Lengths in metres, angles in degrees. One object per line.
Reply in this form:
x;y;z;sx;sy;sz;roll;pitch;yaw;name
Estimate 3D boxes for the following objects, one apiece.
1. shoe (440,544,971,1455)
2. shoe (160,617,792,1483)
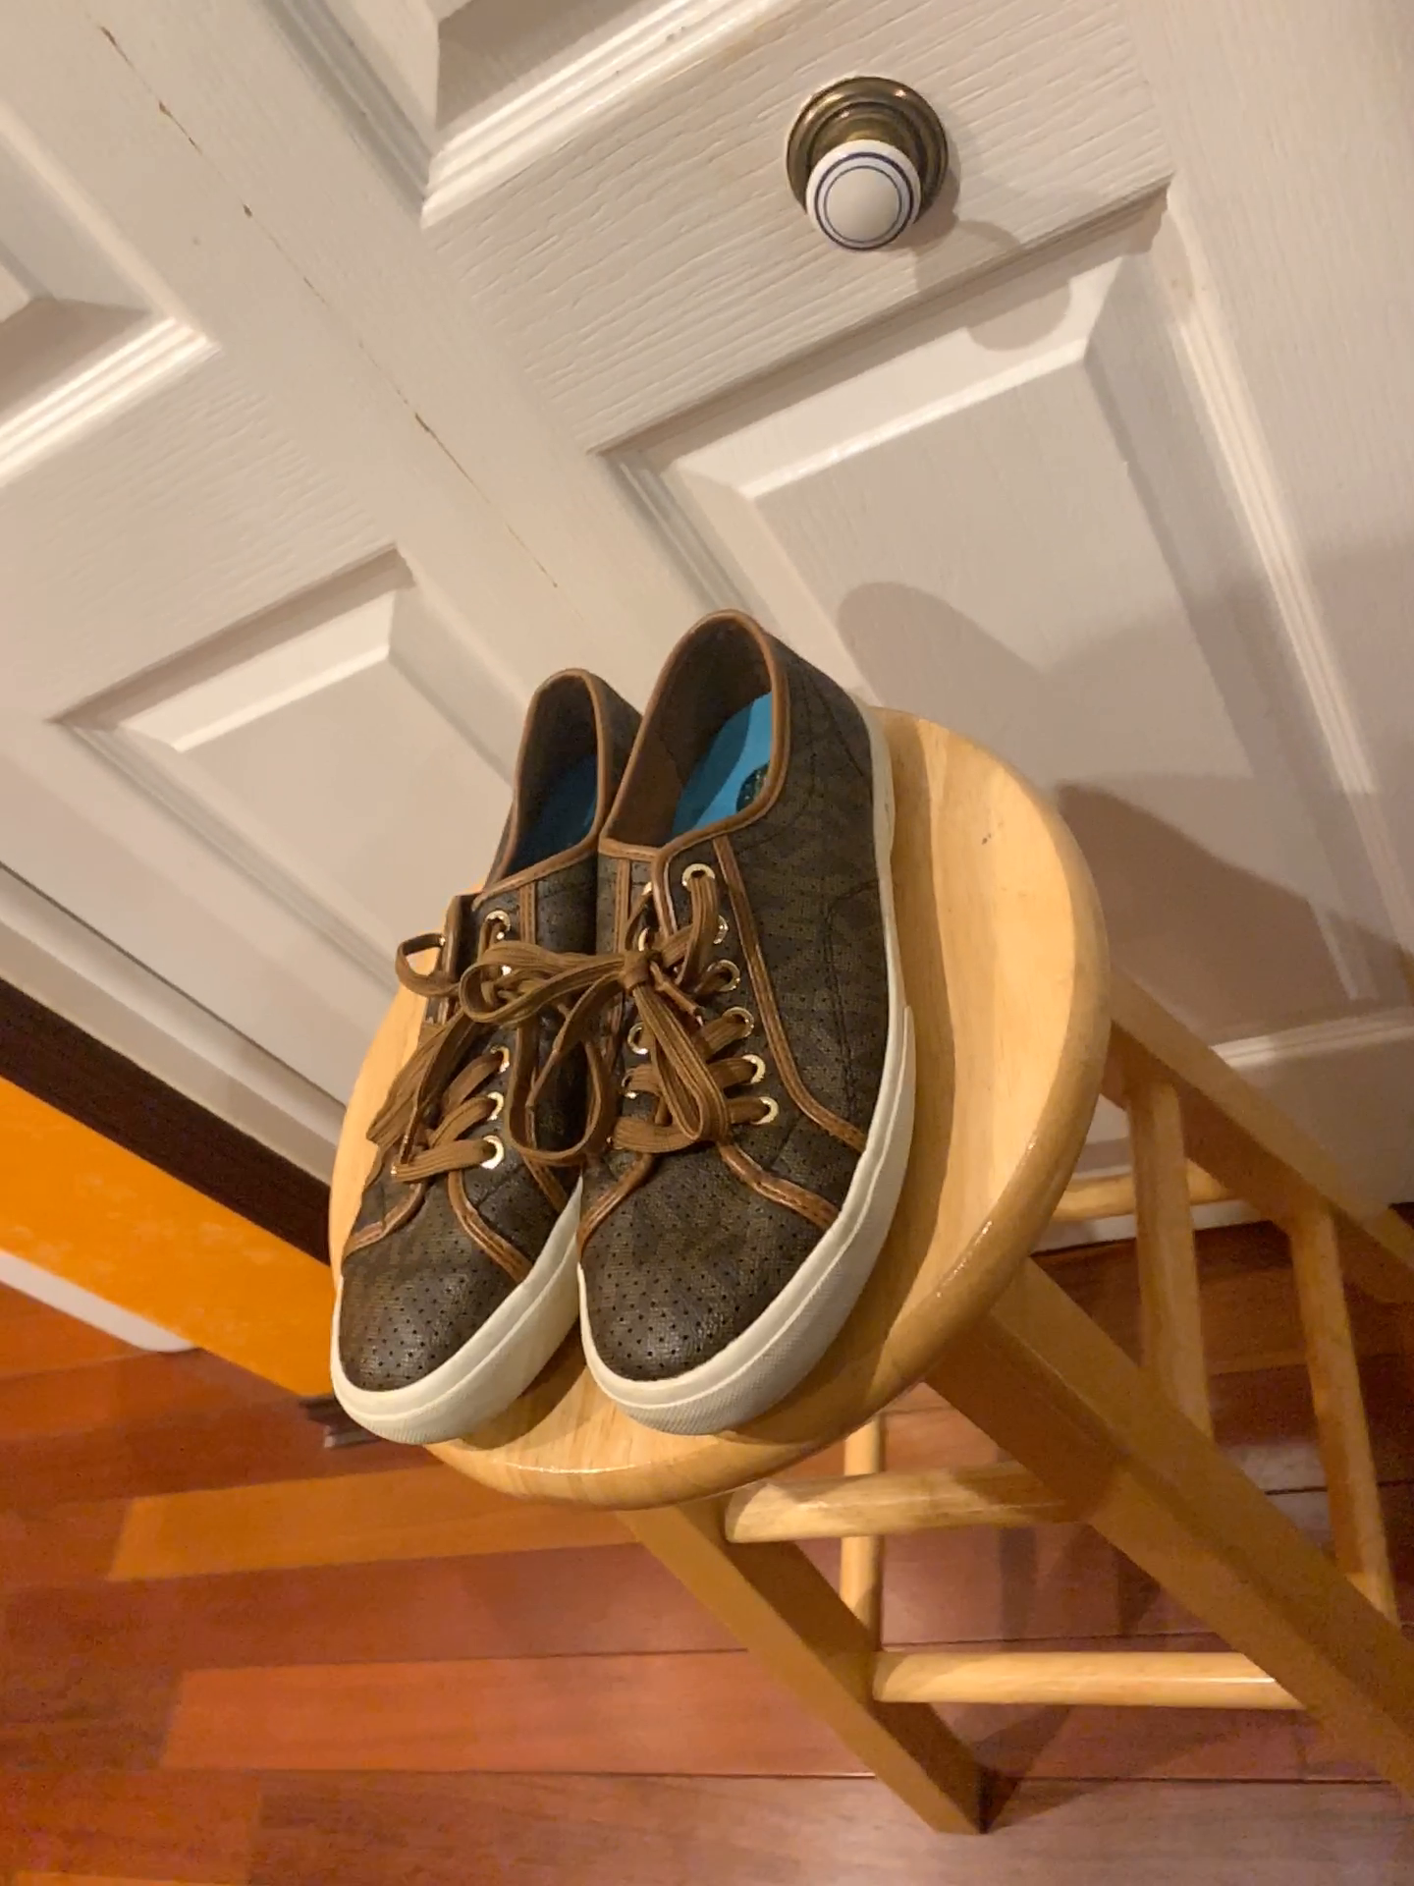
0.013;0.010;0.443;0.100;0.080;0.261;-13;50;30;shoe
-0.062;0.028;0.483;0.100;0.090;0.260;-8;53;34;shoe
